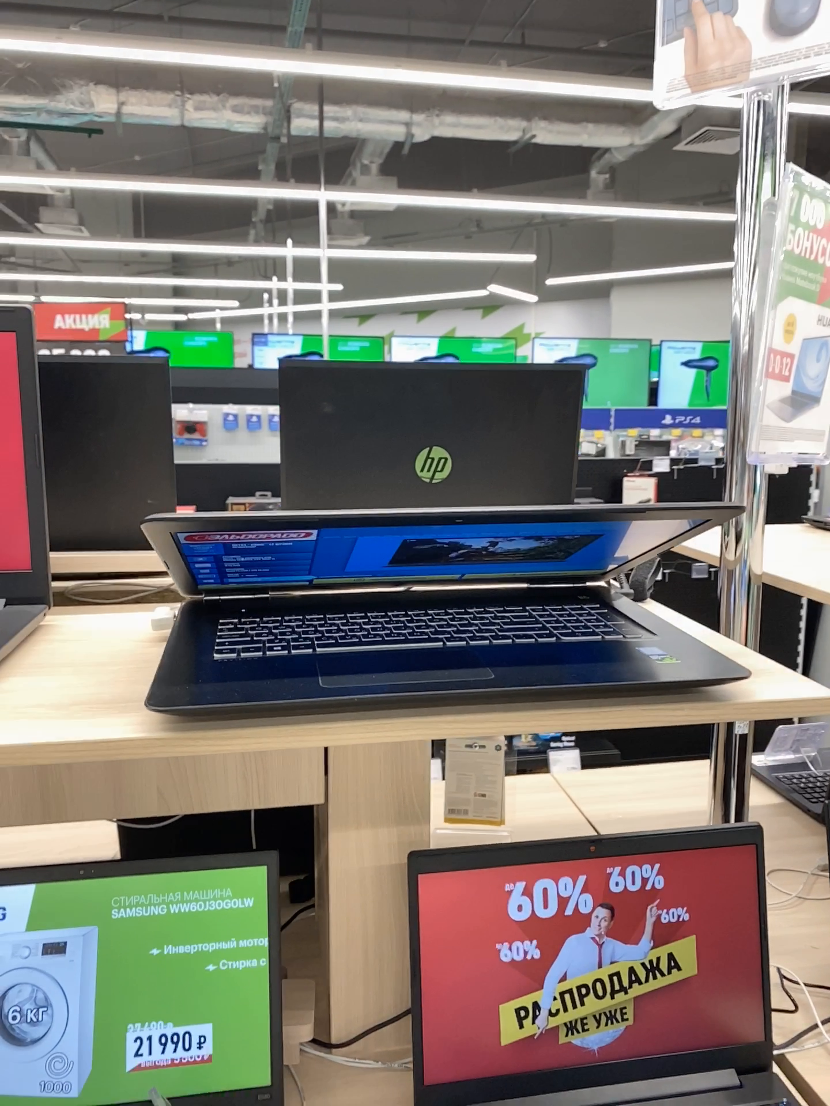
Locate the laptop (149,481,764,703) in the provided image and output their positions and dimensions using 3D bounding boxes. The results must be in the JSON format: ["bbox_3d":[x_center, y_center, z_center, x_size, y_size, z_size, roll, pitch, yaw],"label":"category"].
[{"bbox_3d":[0.012,0.011,0.668,0.396,0.103,0.264,-1,11,-10],"label":"laptop"}]
